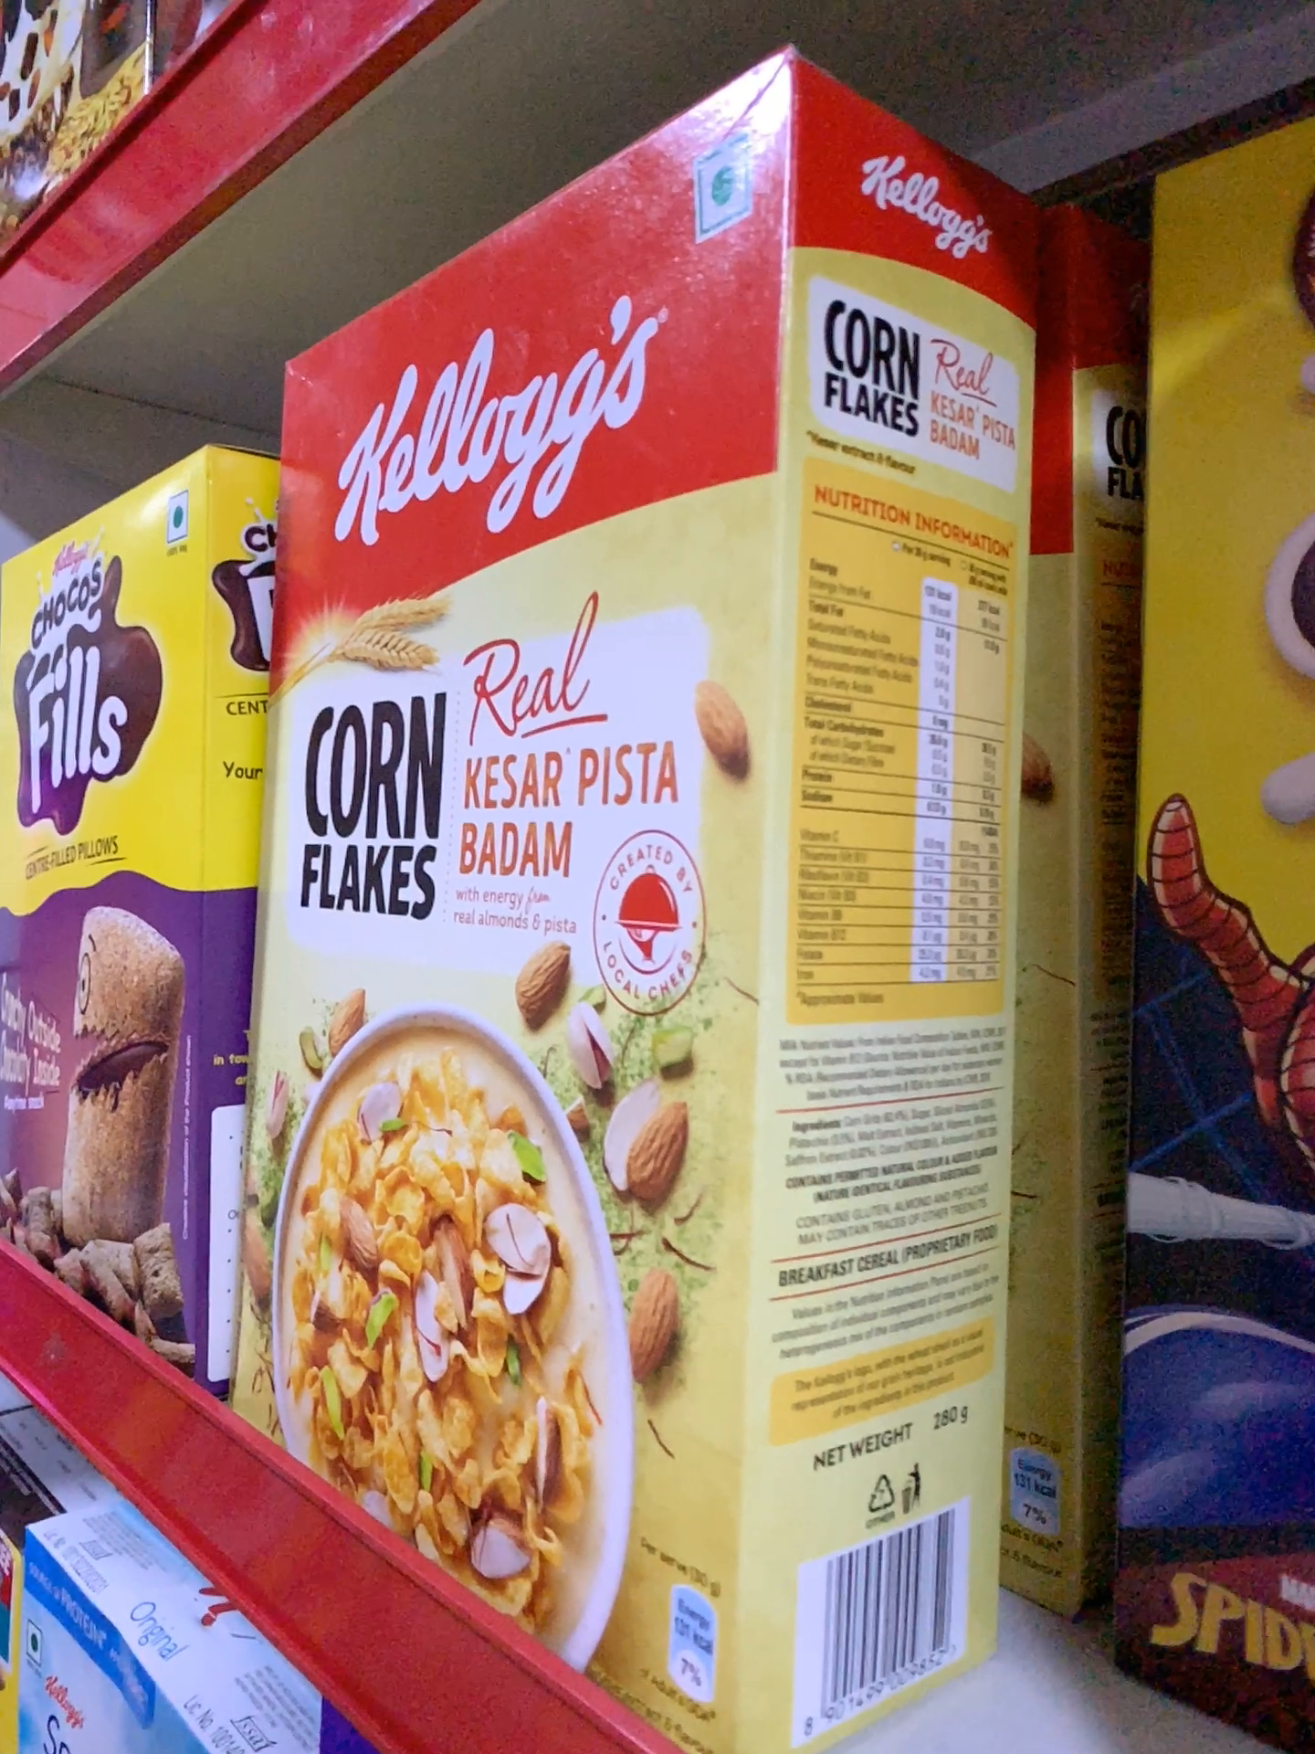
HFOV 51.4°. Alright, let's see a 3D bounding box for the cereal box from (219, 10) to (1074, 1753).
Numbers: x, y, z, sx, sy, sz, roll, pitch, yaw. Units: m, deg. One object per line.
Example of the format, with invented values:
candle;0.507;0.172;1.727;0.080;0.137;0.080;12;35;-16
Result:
cereal box;-0.017;0.006;0.276;0.070;0.250;0.180;2;0;-39
